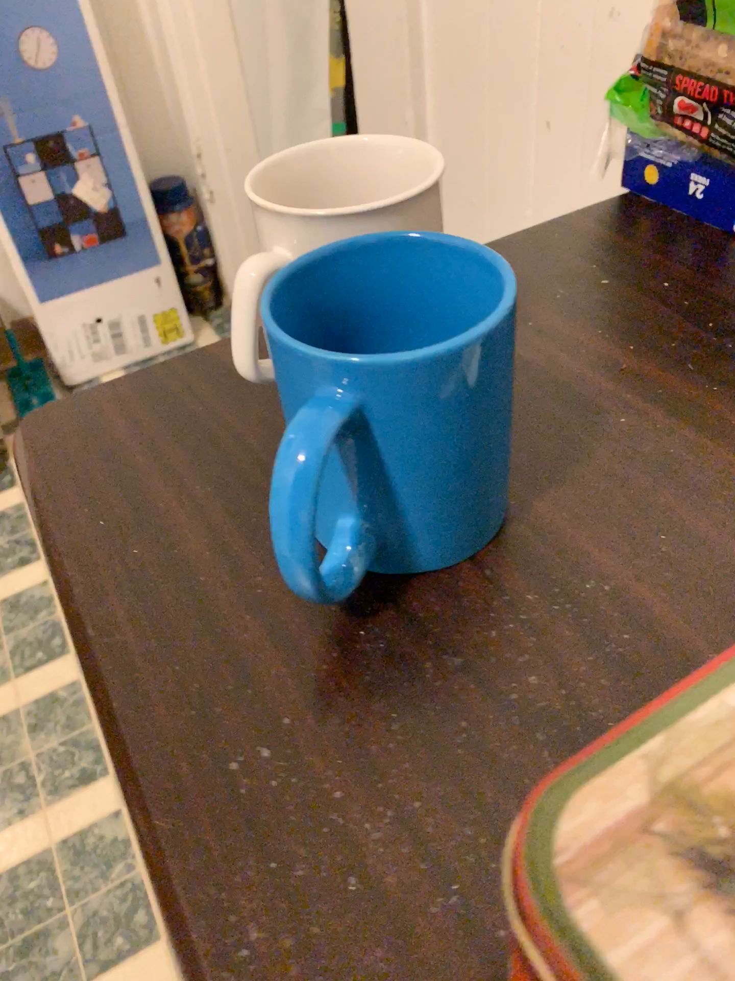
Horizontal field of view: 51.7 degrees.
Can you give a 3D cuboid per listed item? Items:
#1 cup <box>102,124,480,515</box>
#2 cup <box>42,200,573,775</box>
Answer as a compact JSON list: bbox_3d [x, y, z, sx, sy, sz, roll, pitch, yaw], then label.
[{"bbox_3d":[-0.020,-0.080,0.327,0.090,0.099,0.130,17,49,25],"label":"cup"},{"bbox_3d":[-0.003,-0.011,0.245,0.090,0.099,0.140,16,48,24],"label":"cup"}]
